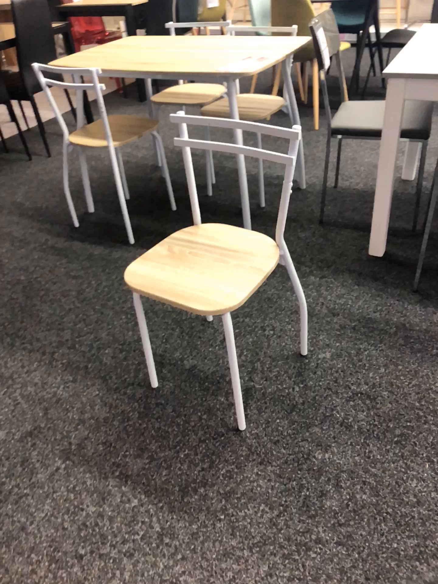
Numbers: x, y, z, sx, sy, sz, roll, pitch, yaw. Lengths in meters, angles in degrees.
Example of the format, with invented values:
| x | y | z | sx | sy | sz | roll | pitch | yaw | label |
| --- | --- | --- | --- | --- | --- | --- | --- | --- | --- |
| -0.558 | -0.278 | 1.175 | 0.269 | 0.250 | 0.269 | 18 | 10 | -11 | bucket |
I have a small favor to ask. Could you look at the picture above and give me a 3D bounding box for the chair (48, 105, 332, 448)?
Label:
| x | y | z | sx | sy | sz | roll | pitch | yaw | label |
| --- | --- | --- | --- | --- | --- | --- | --- | --- | --- |
| -0.024 | -0.058 | 1.317 | 0.500 | 0.726 | 0.443 | 15 | 41 | 26 | chair |
